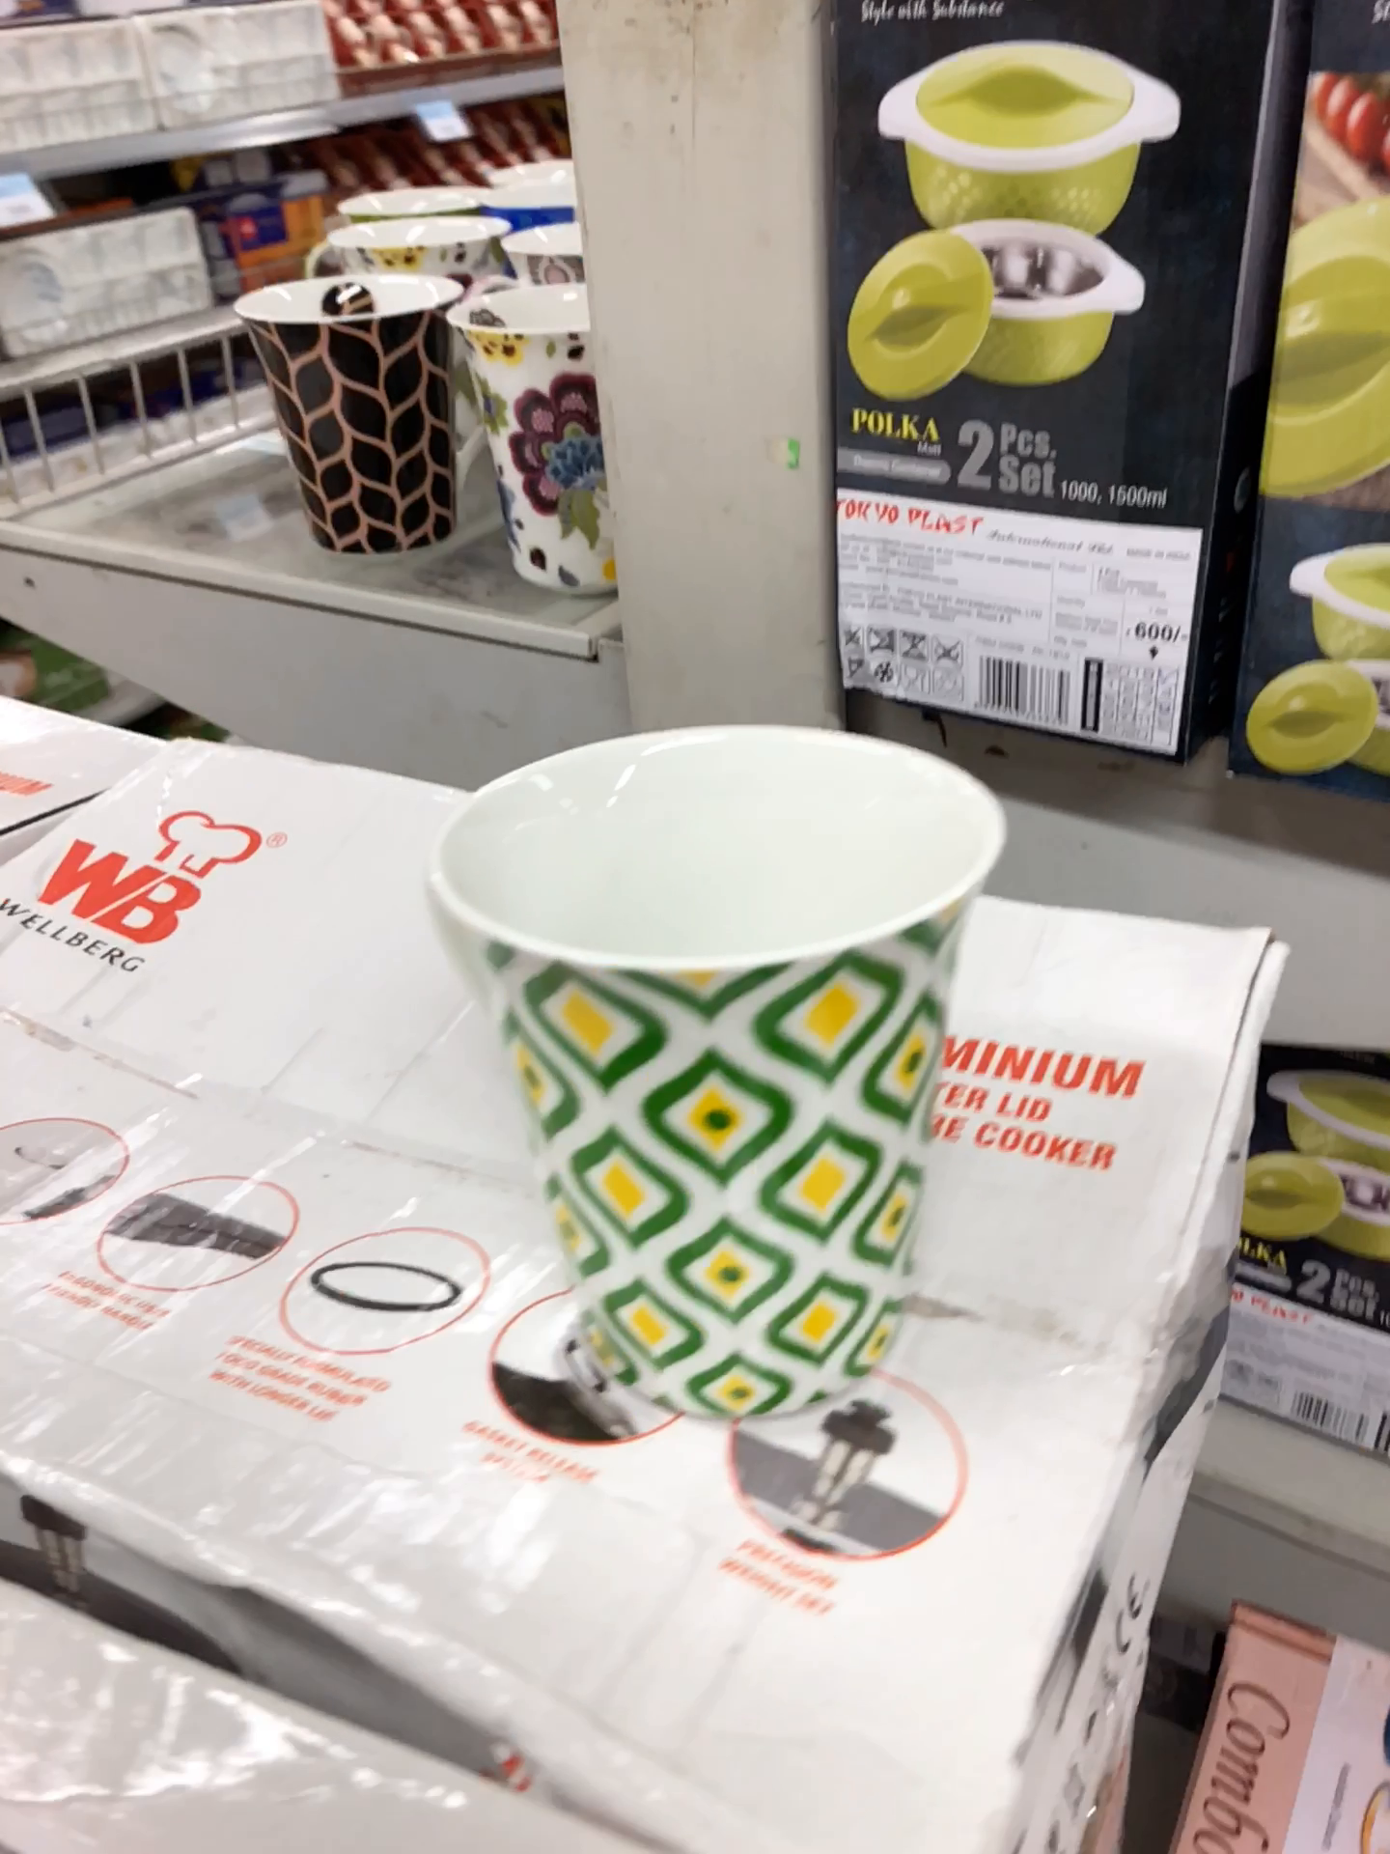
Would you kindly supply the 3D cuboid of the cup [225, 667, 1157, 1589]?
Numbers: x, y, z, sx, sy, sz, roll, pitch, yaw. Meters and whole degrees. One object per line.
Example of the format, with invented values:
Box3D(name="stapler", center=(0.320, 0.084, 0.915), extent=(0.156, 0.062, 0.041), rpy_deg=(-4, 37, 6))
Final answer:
Box3D(name="cup", center=(0.003, 0.021, 0.253), extent=(0.110, 0.089, 0.091), rpy_deg=(14, 31, 27))
